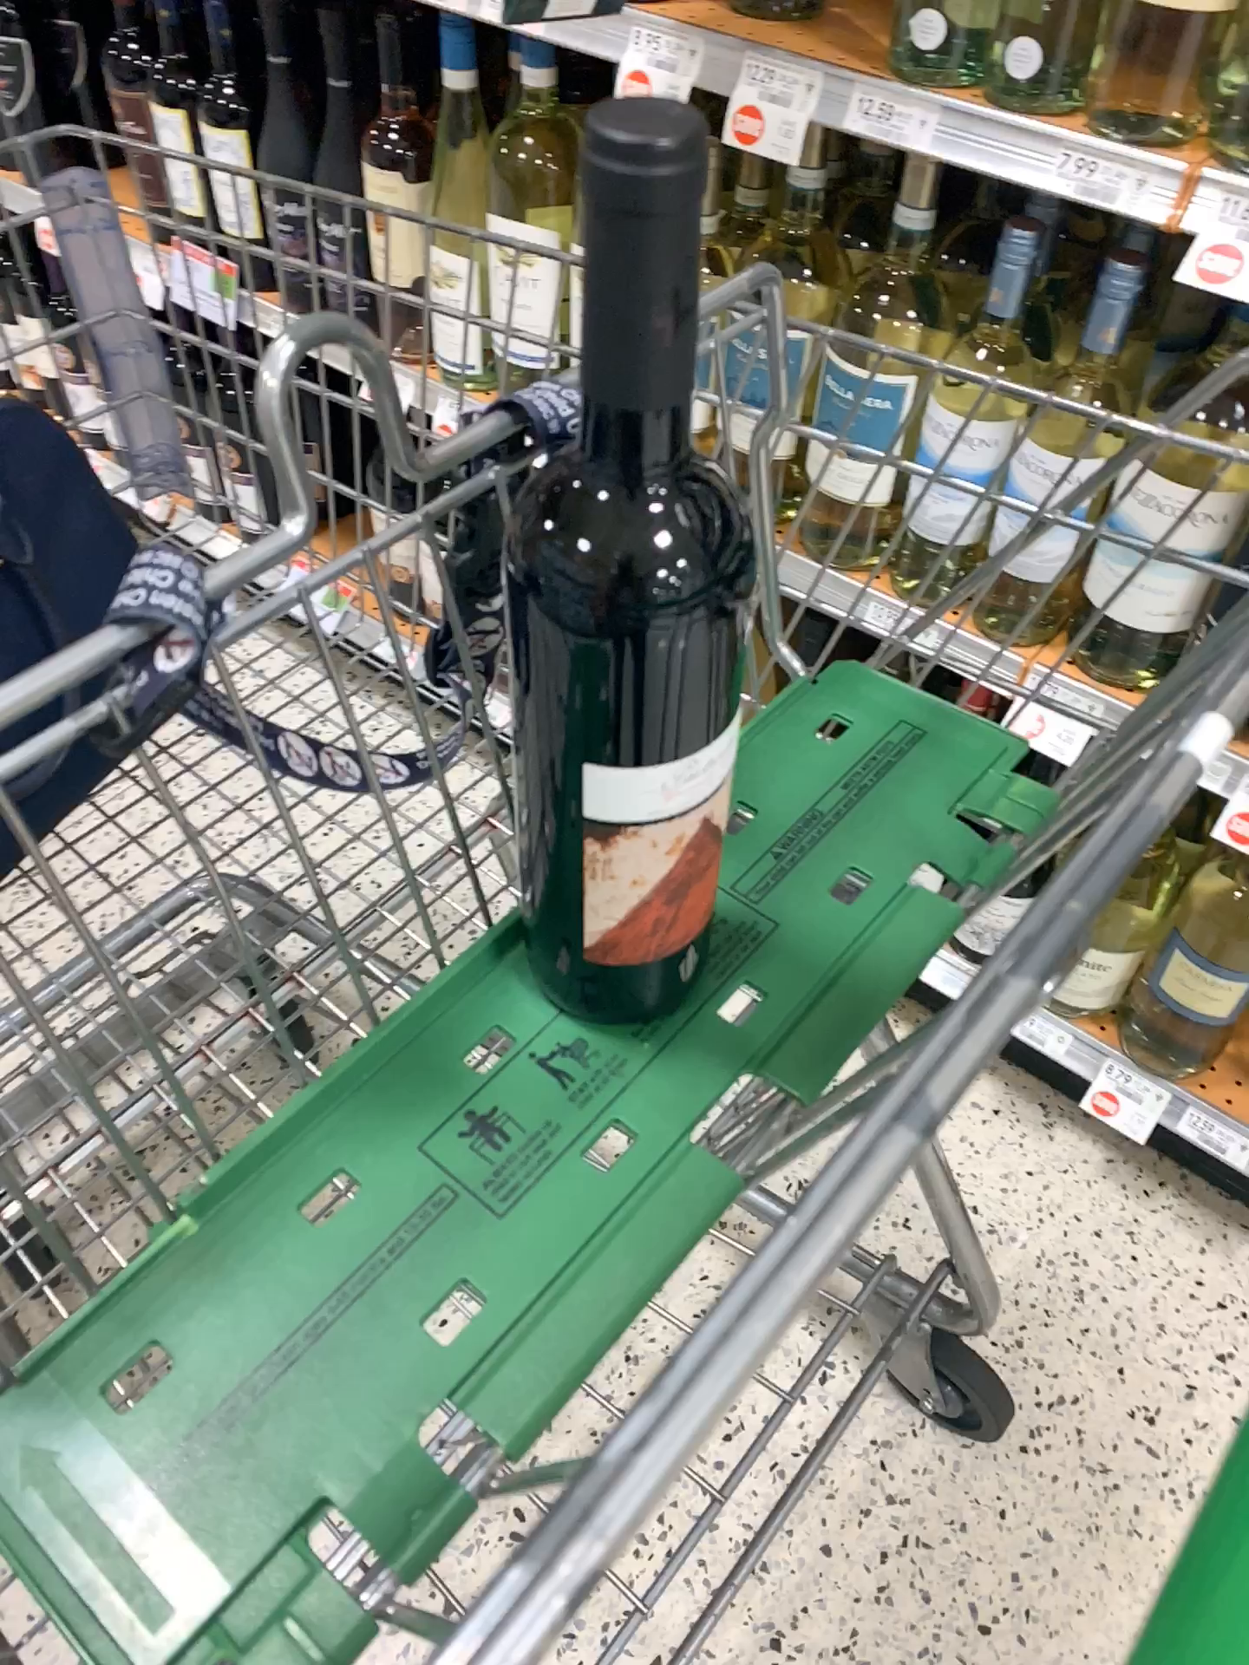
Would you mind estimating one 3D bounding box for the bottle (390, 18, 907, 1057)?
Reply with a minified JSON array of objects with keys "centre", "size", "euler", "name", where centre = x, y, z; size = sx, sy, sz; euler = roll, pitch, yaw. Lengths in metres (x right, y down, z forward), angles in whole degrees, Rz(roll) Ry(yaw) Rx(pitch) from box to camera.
[{"centre":[0.003,-0.061,0.386],"size":[0.080,0.297,0.080],"euler":[1,48,-1],"name":"bottle"}]
